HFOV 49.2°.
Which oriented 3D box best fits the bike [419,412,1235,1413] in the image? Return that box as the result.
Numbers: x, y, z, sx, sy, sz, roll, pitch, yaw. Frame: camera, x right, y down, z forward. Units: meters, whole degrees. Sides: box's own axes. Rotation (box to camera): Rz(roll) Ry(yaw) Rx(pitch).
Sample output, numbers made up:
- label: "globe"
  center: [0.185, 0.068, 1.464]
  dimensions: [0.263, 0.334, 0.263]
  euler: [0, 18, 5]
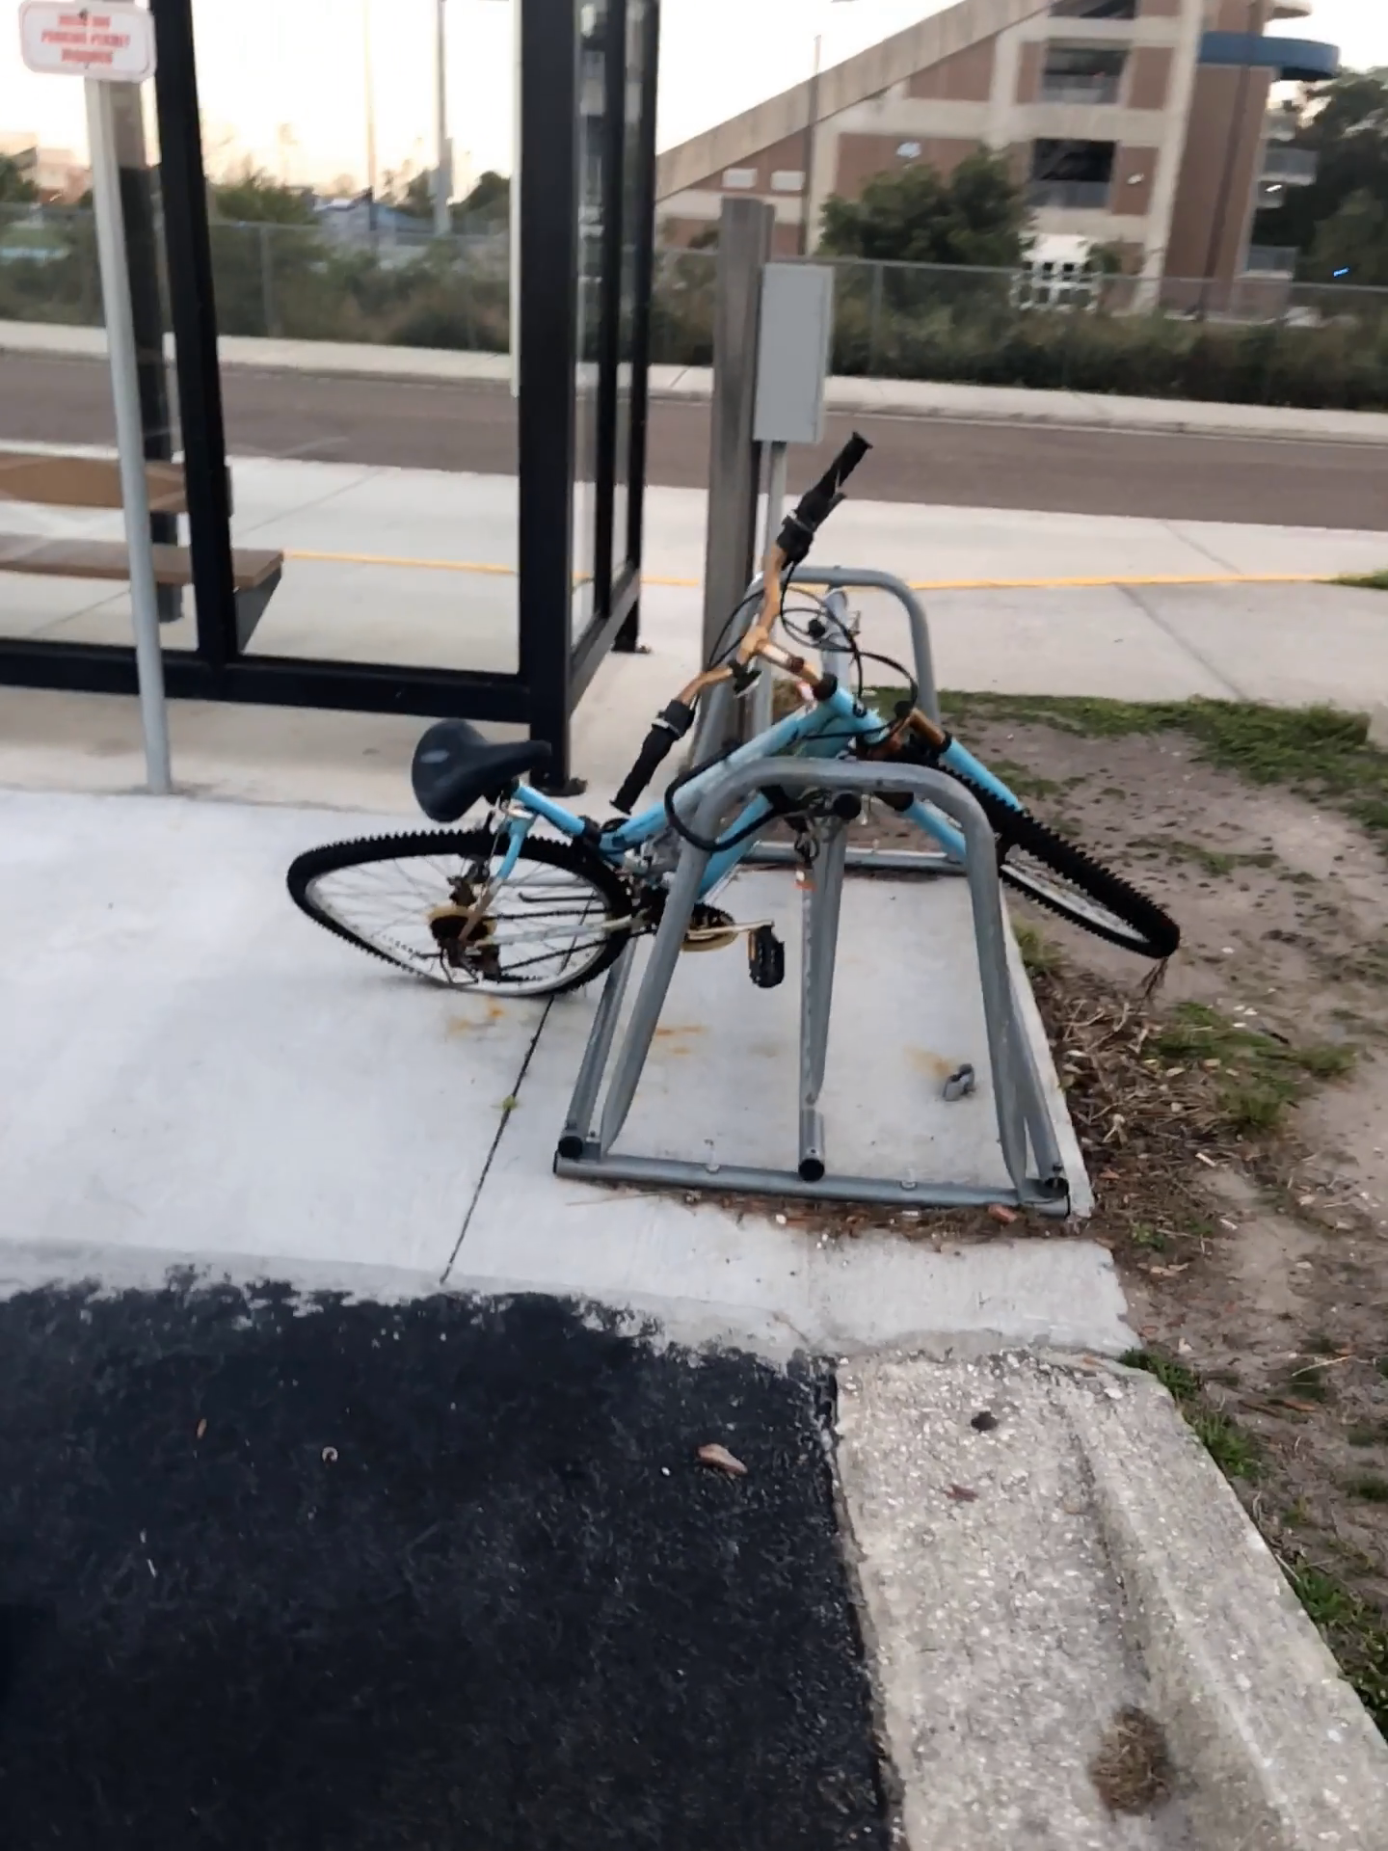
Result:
- label: "bike"
  center: [0.141, -0.098, 2.111]
  dimensions: [0.938, 1.128, 0.550]
  euler: [13, 25, 25]
